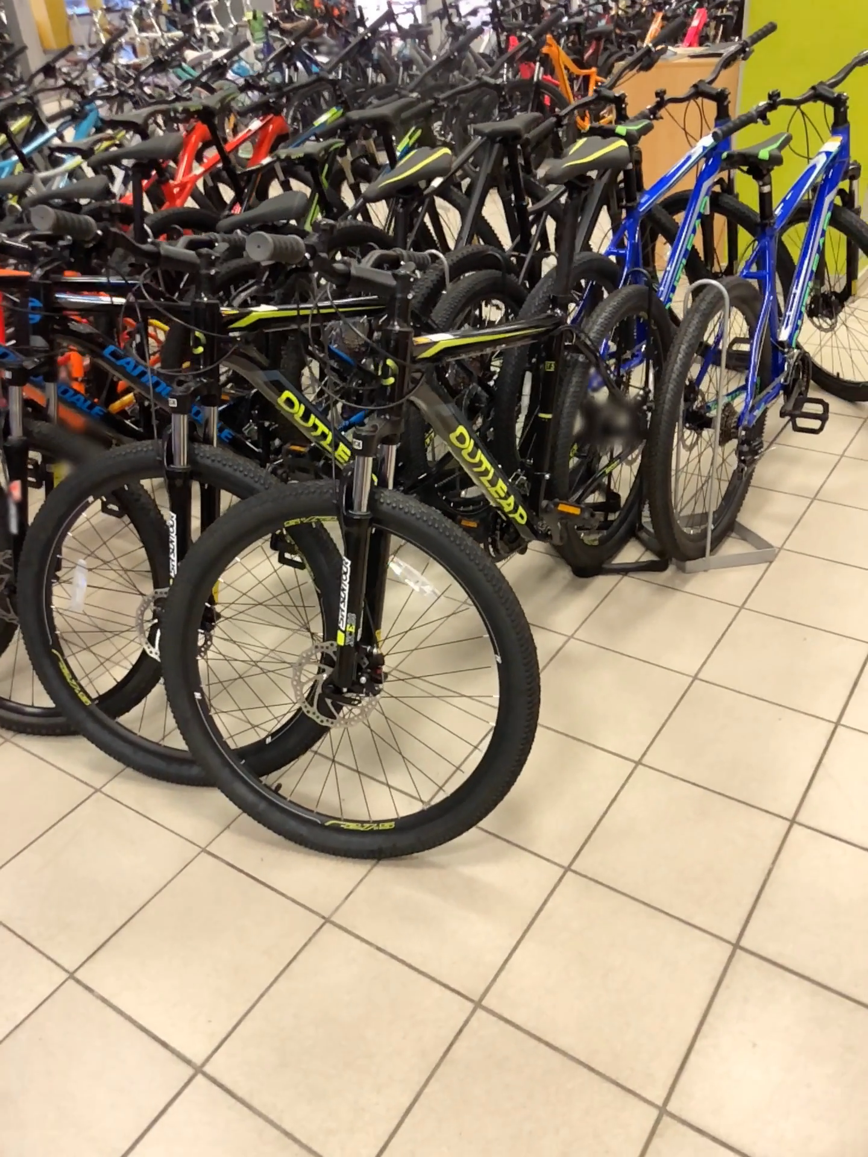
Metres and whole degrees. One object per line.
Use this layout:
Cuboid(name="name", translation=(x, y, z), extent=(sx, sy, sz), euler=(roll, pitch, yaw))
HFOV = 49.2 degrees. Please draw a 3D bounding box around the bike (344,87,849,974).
Cuboid(name="bike", translation=(0.398, -0.306, 1.918), extent=(0.662, 1.044, 1.359), euler=(9, 36, 22))
